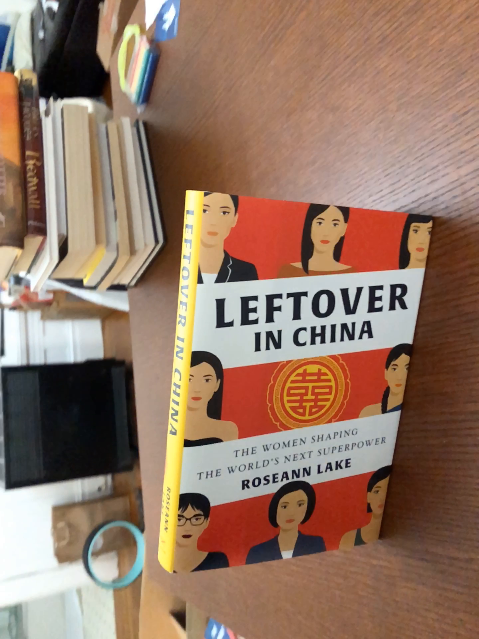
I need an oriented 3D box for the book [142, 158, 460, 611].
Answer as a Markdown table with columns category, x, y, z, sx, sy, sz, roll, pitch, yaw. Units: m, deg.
| category | x | y | z | sx | sy | sz | roll | pitch | yaw |
| --- | --- | --- | --- | --- | --- | --- | --- | --- | --- |
| book | 0.039 | 0.039 | 0.357 | 0.060 | 0.179 | 0.260 | 26 | 113 | 58 |
